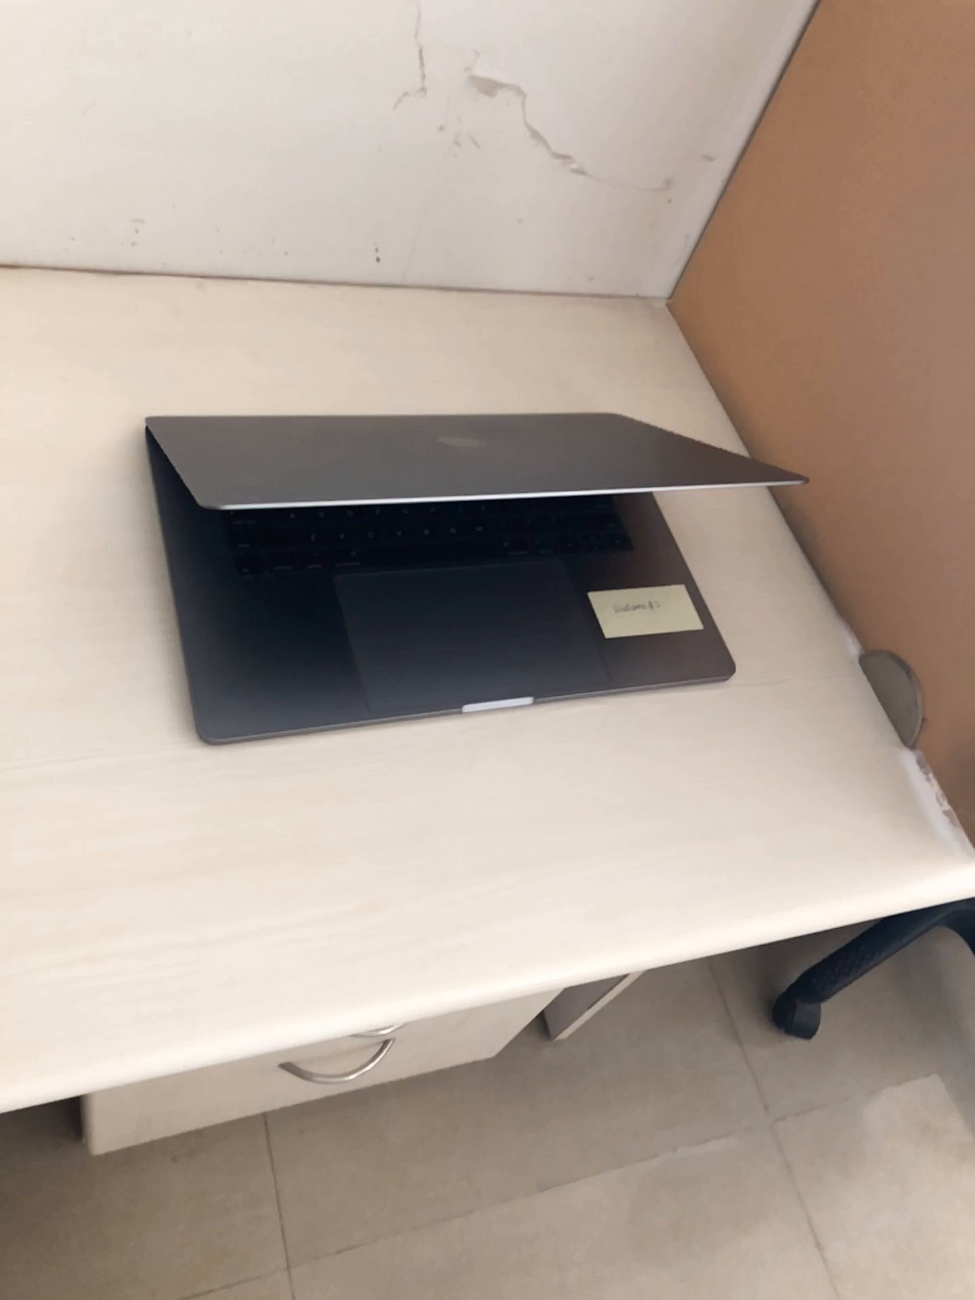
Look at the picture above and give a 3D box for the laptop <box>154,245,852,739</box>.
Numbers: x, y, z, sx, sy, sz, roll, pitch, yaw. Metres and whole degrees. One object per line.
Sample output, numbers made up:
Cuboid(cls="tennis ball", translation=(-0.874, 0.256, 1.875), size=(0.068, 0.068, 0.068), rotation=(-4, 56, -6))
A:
Cuboid(cls="laptop", translation=(-0.007, -0.101, 0.624), size=(0.330, 0.134, 0.234), rotation=(-5, 56, -23))
